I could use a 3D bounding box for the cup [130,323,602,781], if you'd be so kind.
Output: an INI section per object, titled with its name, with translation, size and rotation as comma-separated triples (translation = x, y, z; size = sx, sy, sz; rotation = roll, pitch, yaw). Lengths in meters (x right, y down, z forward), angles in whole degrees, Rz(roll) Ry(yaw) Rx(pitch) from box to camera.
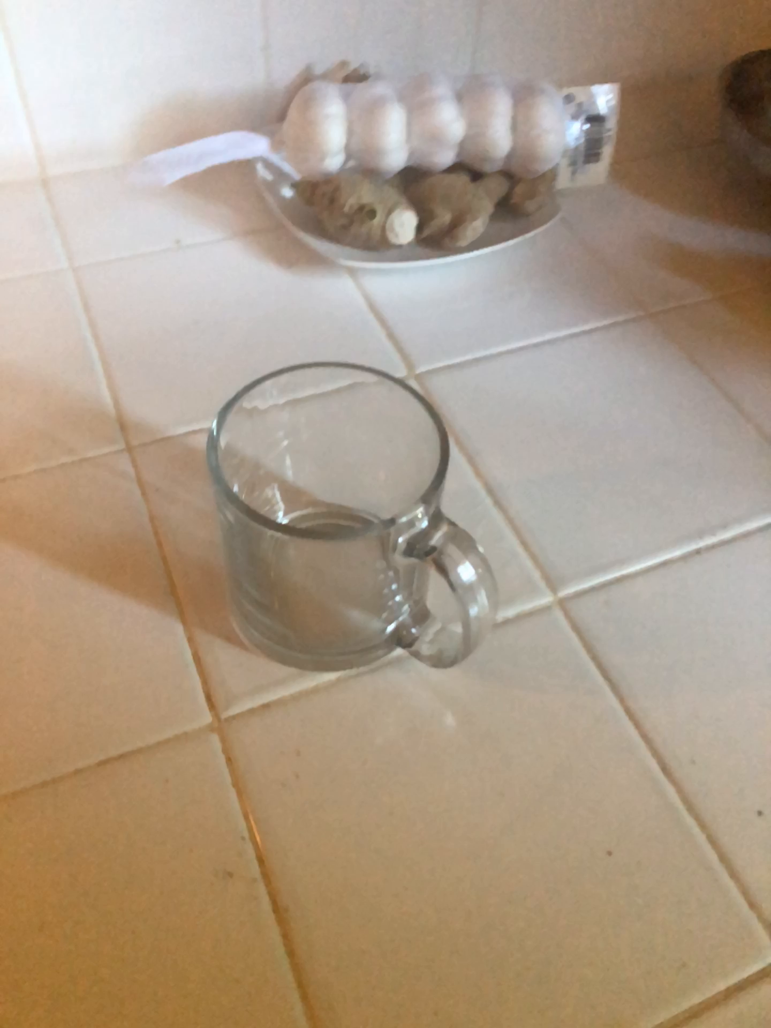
[cup]
translation = -0.007, 0.010, 0.327
size = 0.130, 0.079, 0.101
rotation = 30, 56, 18
